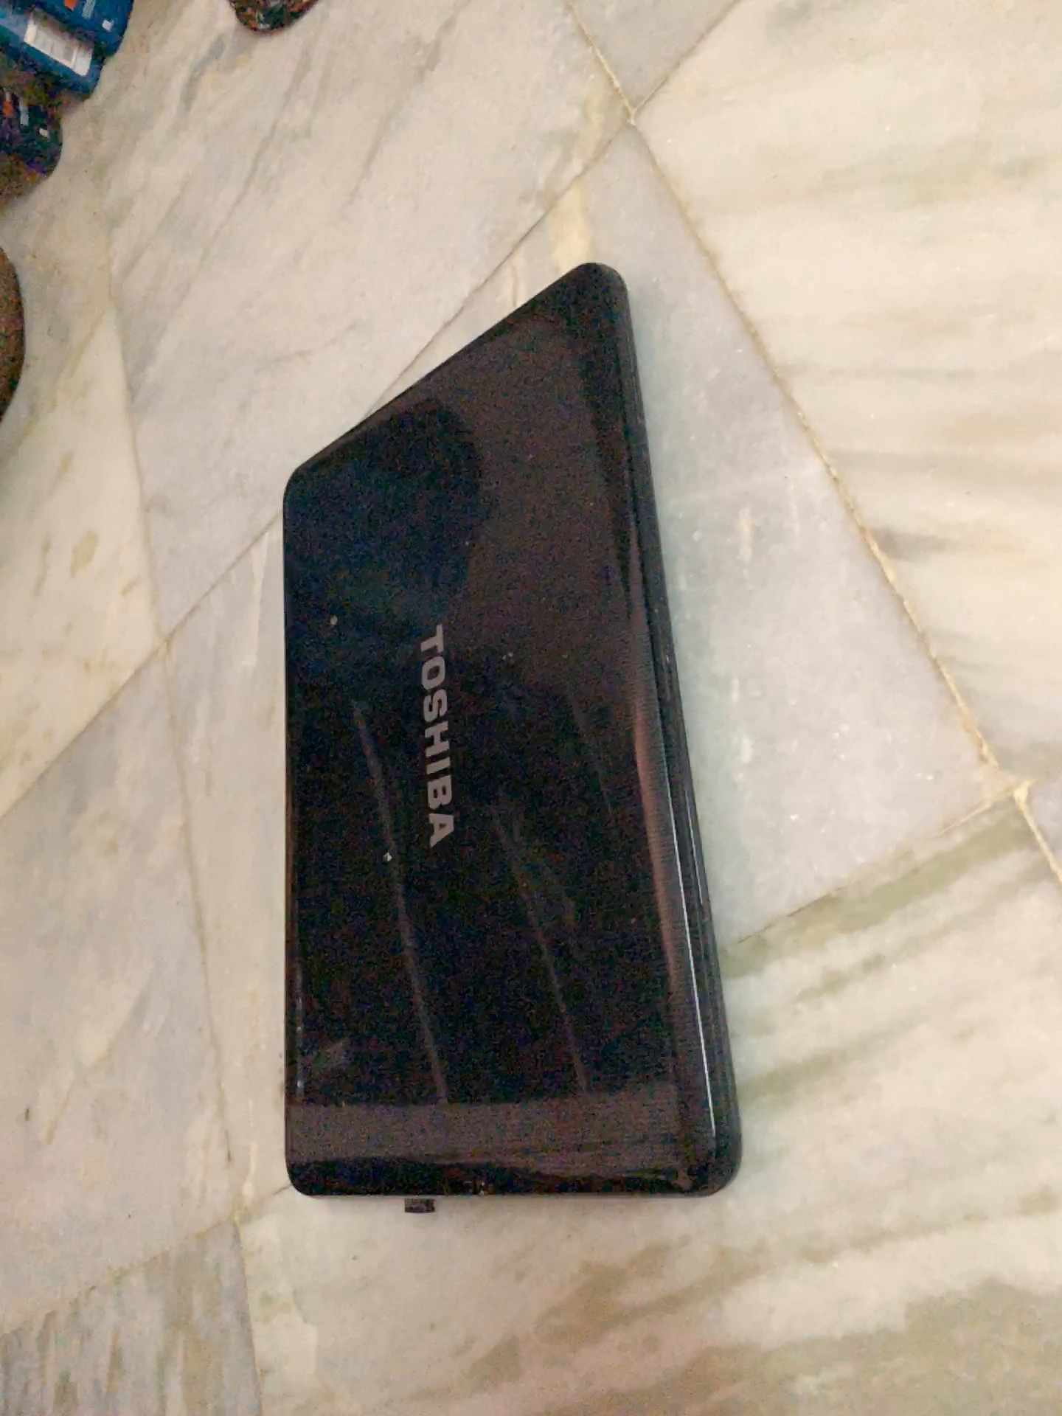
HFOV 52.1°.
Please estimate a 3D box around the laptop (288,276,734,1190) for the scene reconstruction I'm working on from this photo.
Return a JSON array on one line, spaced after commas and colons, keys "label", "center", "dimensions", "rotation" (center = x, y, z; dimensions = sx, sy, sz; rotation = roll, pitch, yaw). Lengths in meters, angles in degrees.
[{"label": "laptop", "center": [-0.035, 0.015, 0.473], "dimensions": [0.223, 0.003, 0.355], "rotation": [-21, 65, 38]}]
